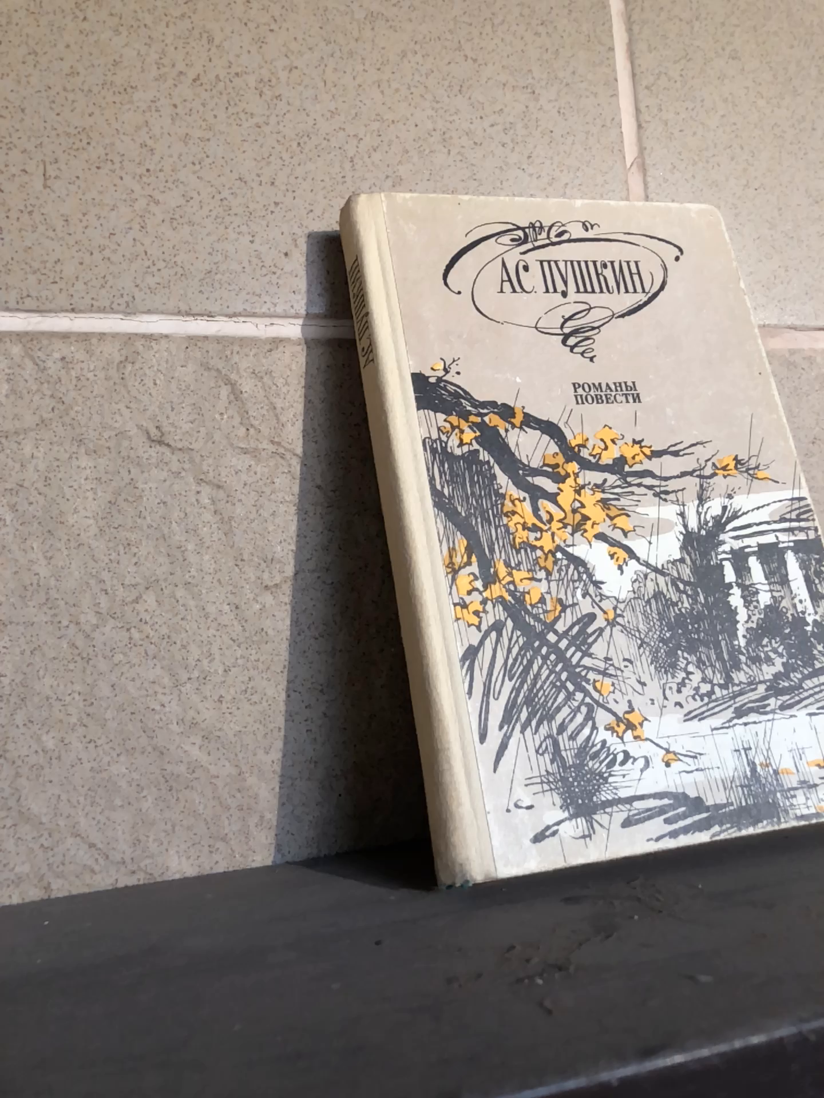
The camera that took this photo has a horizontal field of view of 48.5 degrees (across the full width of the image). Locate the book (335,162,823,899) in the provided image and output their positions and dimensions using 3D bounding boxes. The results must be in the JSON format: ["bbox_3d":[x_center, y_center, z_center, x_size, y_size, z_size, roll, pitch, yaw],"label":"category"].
[{"bbox_3d":[0.054,-0.017,0.262,0.130,0.199,0.020,-4,-15,-15],"label":"book"}]
